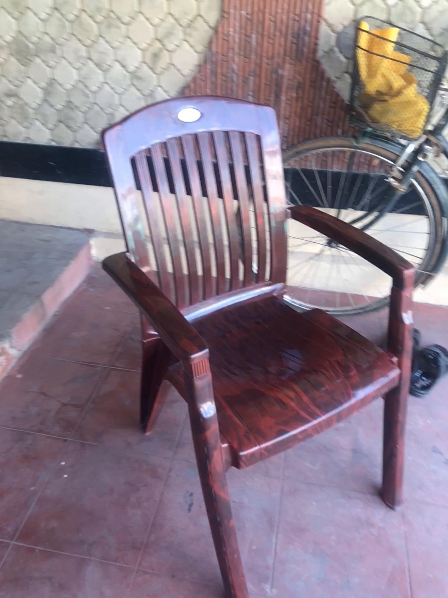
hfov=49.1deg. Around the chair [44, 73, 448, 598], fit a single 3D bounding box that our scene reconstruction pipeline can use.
[{"bbox_3d":[0.081,0.055,1.068,0.592,0.845,0.702,-18,39,-25],"label":"chair"}]
